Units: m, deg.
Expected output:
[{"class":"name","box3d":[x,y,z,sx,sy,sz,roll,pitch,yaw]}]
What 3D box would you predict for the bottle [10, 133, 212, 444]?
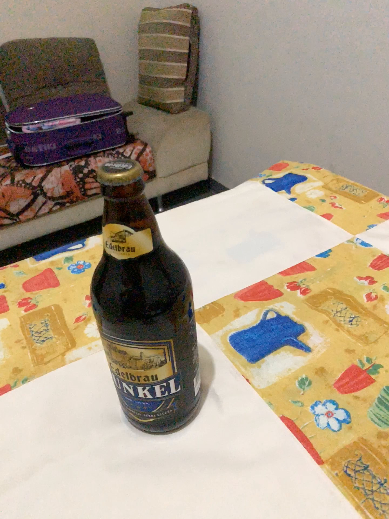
[{"class":"bottle","box3d":[-0.041,0.029,0.298,0.080,0.219,0.080,-3,35,2]}]
